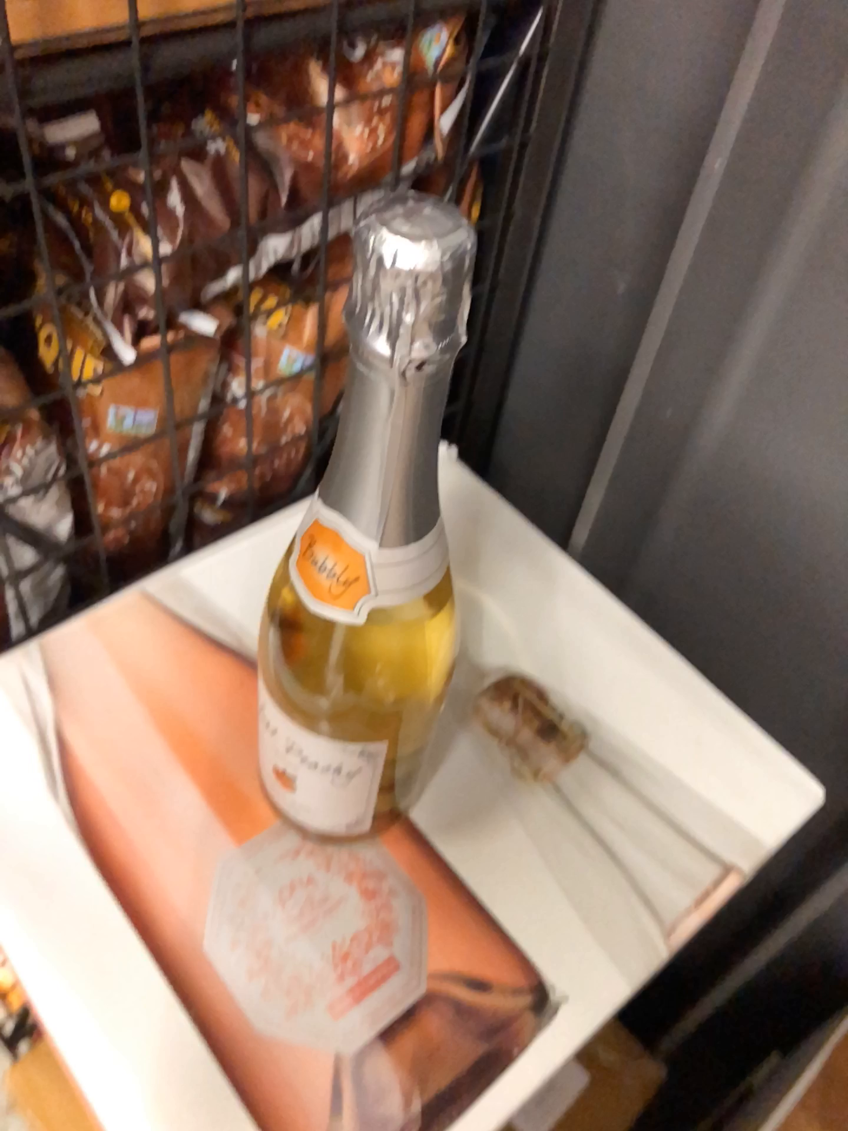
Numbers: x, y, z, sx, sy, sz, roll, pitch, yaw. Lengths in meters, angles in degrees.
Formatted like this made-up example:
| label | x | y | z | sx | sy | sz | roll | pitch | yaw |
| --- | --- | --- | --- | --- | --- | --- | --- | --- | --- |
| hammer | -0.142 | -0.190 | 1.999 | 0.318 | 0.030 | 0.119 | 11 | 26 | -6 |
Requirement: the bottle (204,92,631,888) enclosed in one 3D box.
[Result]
| label | x | y | z | sx | sy | sz | roll | pitch | yaw |
| --- | --- | --- | --- | --- | --- | --- | --- | --- | --- |
| bottle | -0.019 | 0.003 | 0.369 | 0.078 | 0.319 | 0.087 | 35 | 52 | 21 |
